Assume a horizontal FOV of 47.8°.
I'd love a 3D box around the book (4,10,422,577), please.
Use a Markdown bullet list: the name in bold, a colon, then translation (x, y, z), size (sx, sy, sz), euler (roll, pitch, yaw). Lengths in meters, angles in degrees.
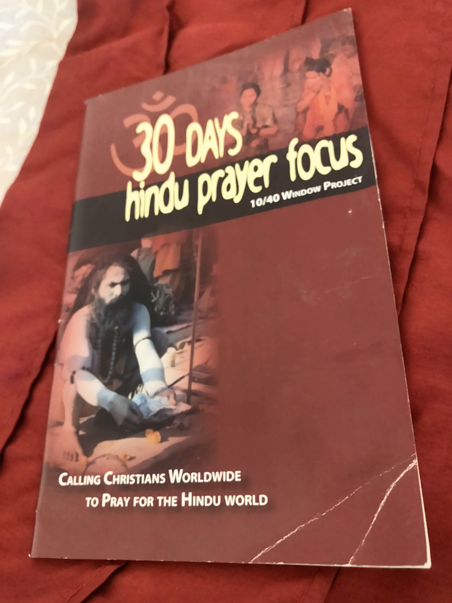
- **book**: translation (-0.013, -0.013, 0.203), size (0.141, 0.010, 0.211), euler (-8, 68, 19)
